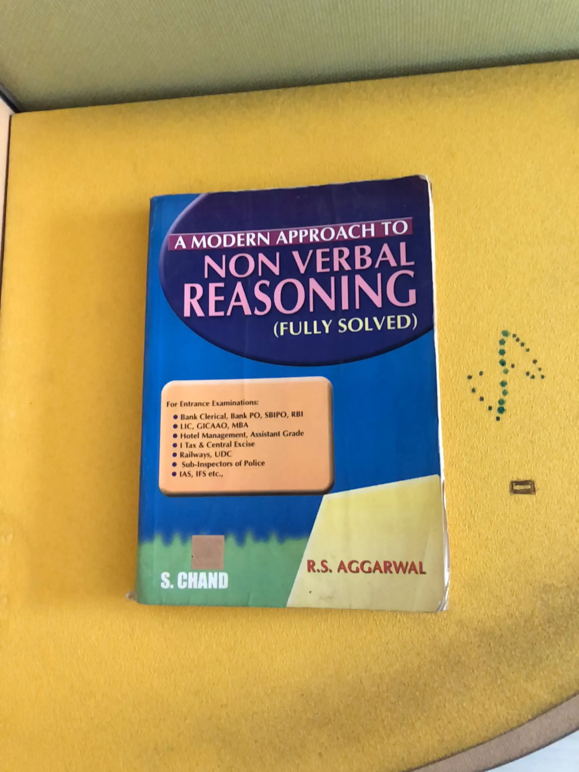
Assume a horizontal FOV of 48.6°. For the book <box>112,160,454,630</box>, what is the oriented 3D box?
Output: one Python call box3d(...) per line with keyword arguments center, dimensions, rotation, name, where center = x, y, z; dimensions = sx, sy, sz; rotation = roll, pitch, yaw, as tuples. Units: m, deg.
box3d(center=(-0.004, 0.003, 0.355), dimensions=(0.170, 0.040, 0.240), rotation=(-2, 80, 8), name="book")
